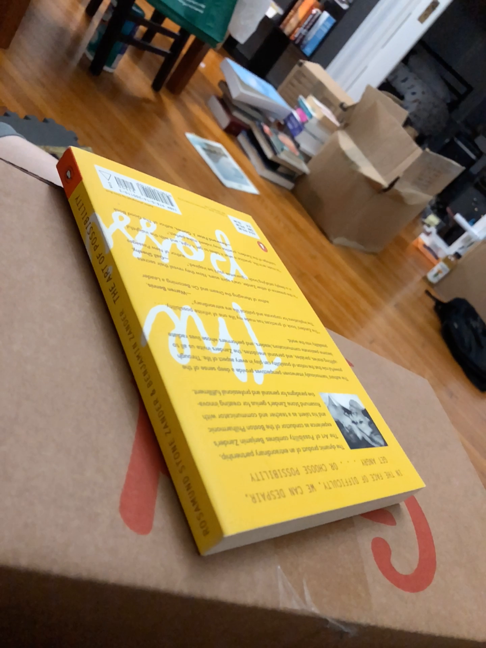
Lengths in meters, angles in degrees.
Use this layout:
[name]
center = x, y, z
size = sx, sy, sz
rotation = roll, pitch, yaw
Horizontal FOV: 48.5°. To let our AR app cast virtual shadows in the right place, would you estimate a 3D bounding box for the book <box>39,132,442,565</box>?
[book]
center = -0.003, -0.002, 0.272
size = 0.151, 0.020, 0.210
rotation = 9, 43, -46
